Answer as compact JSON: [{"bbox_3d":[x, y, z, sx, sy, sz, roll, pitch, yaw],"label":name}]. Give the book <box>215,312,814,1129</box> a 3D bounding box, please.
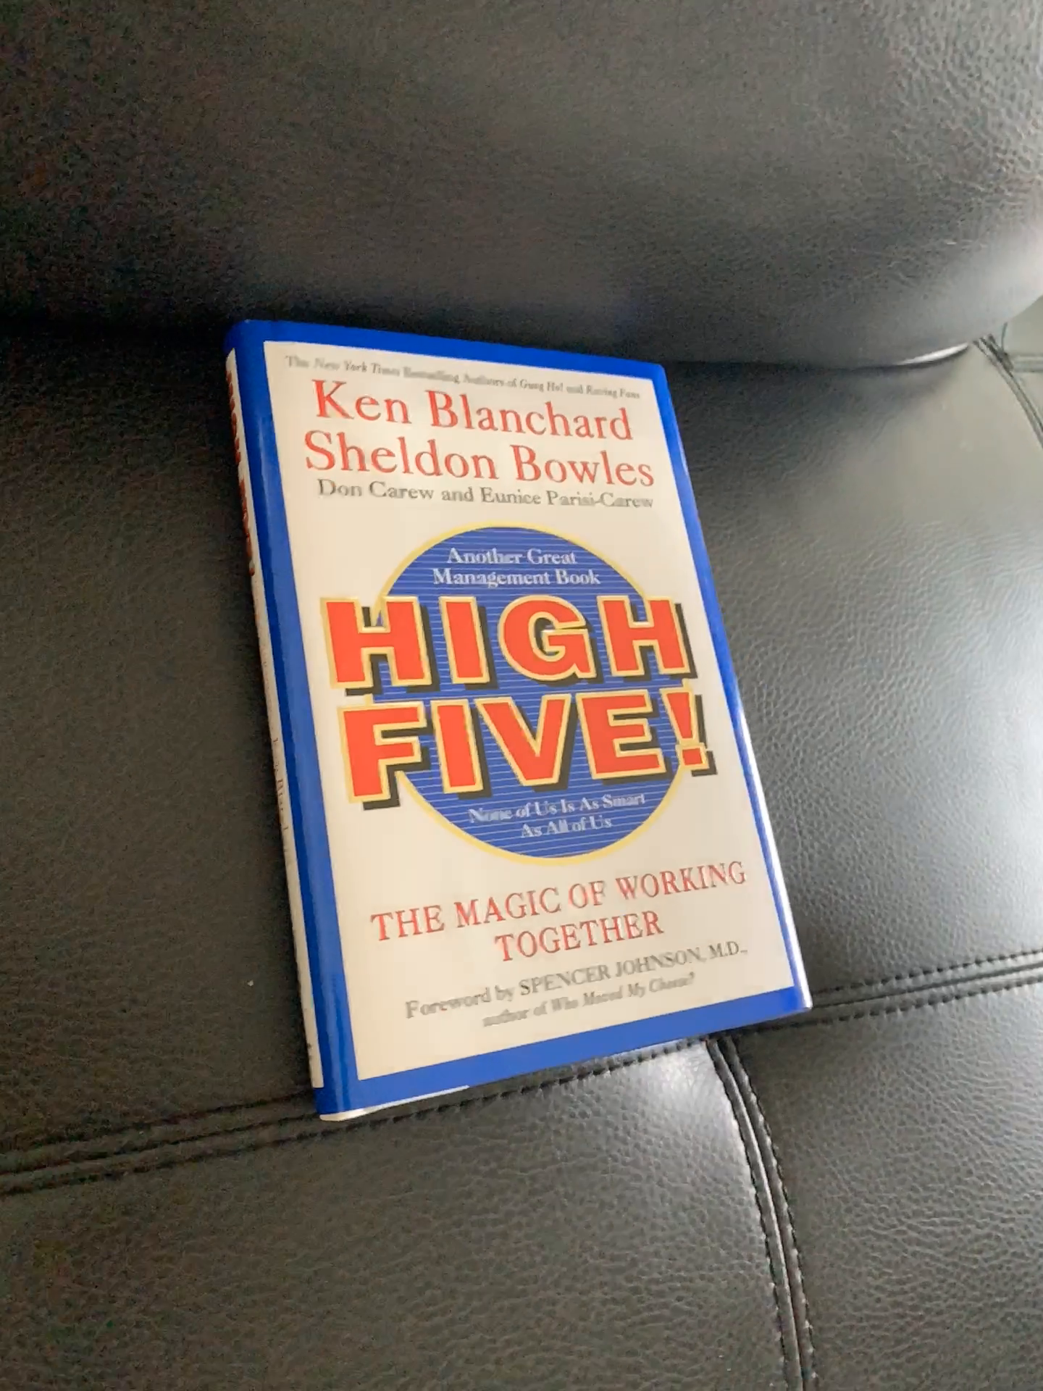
[{"bbox_3d":[-0.002,-0.004,0.325,0.151,0.023,0.220,-3,75,-28],"label":"book"}]
